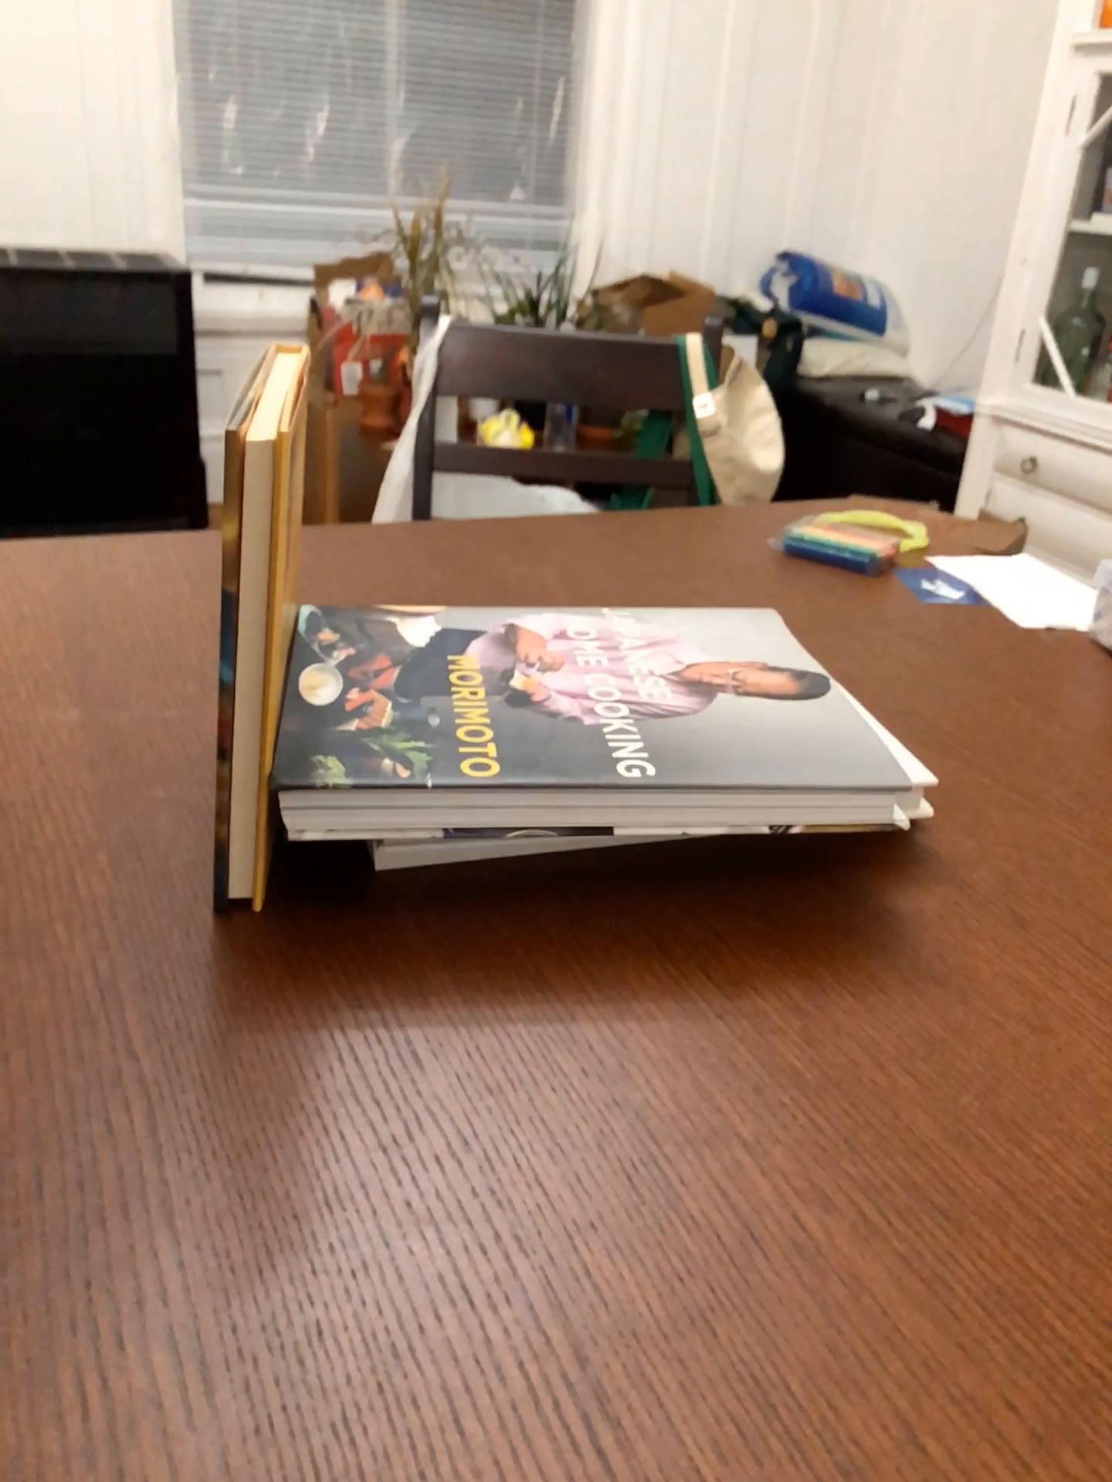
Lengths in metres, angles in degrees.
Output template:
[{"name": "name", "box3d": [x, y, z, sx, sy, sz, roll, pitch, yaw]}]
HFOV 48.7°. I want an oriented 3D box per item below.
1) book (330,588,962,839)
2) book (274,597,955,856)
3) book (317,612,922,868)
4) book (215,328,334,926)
[{"name": "book", "box3d": [0.030, -0.028, 0.655, 0.280, 0.030, 0.221, -4, 26, -14]}, {"name": "book", "box3d": [0.012, -0.019, 0.599, 0.280, 0.030, 0.221, -1, 26, -9]}, {"name": "book", "box3d": [0.021, -0.014, 0.689, 0.280, 0.030, 0.221, -5, 27, -16]}, {"name": "book", "box3d": [-0.126, -0.064, 0.564, 0.030, 0.209, 0.211, 3, 26, -9]}]
